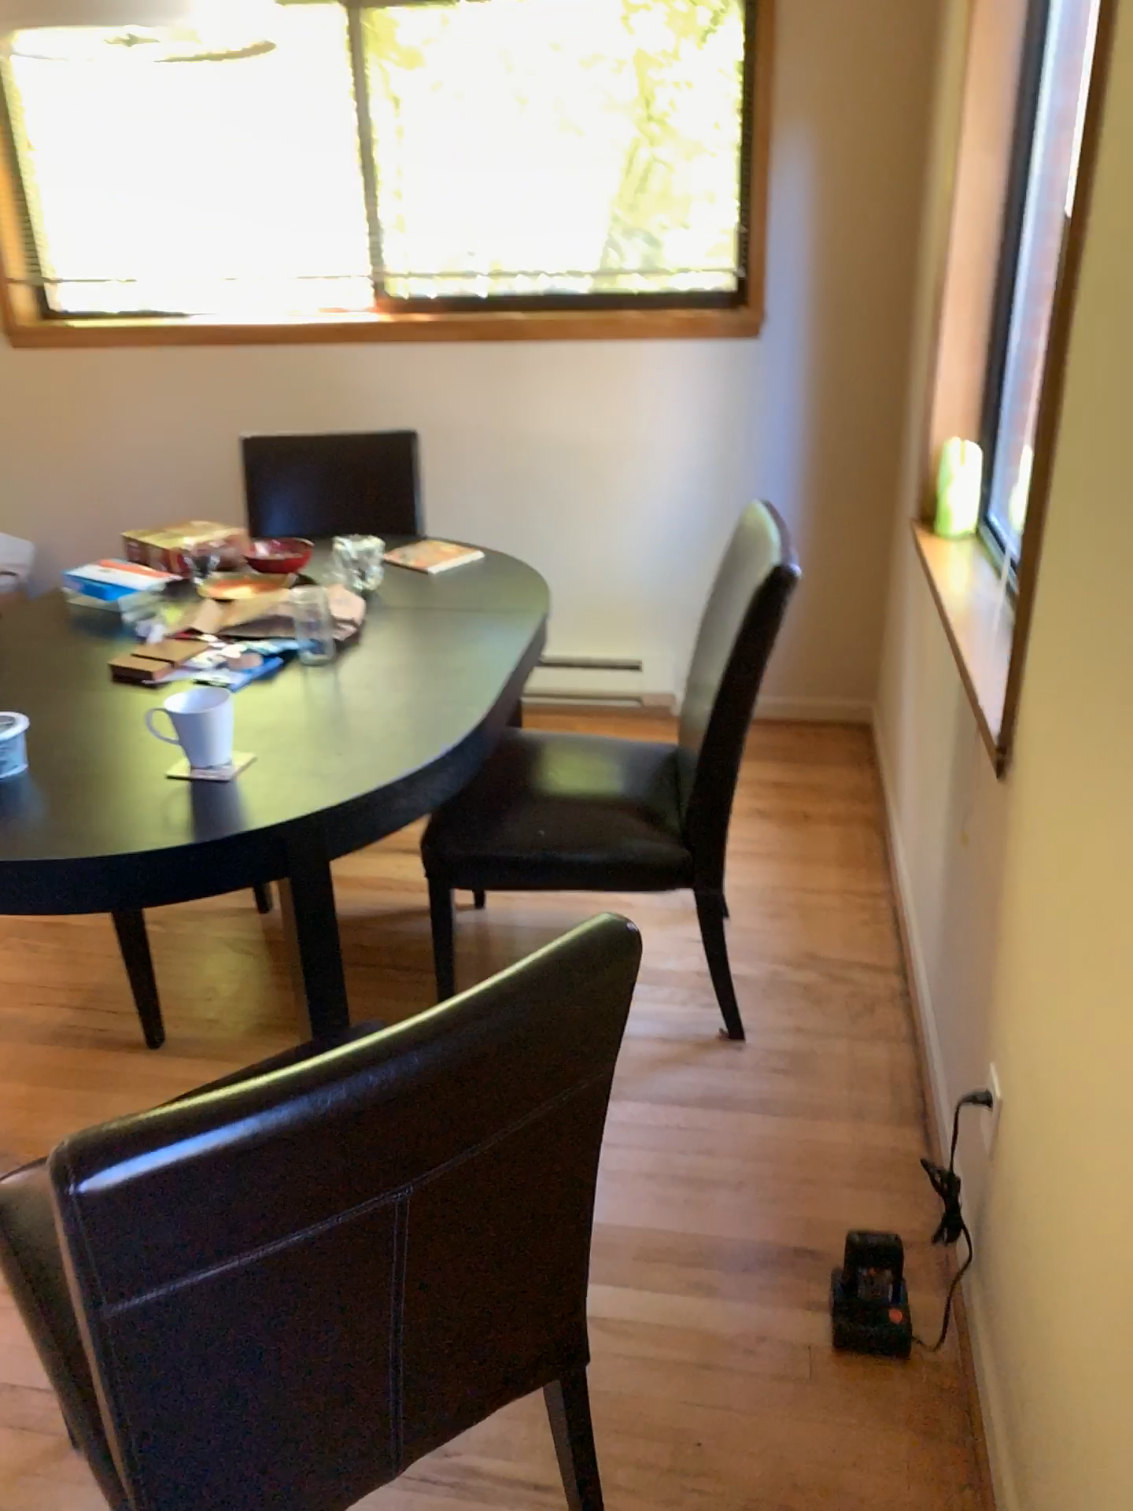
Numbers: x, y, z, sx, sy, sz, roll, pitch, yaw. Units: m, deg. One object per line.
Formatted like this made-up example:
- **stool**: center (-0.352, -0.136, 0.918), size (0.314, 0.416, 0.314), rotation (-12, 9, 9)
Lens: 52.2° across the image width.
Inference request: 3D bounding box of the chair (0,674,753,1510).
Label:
- **chair**: center (-0.272, 0.584, 1.252), size (0.620, 1.084, 0.653), rotation (-19, 30, -32)
